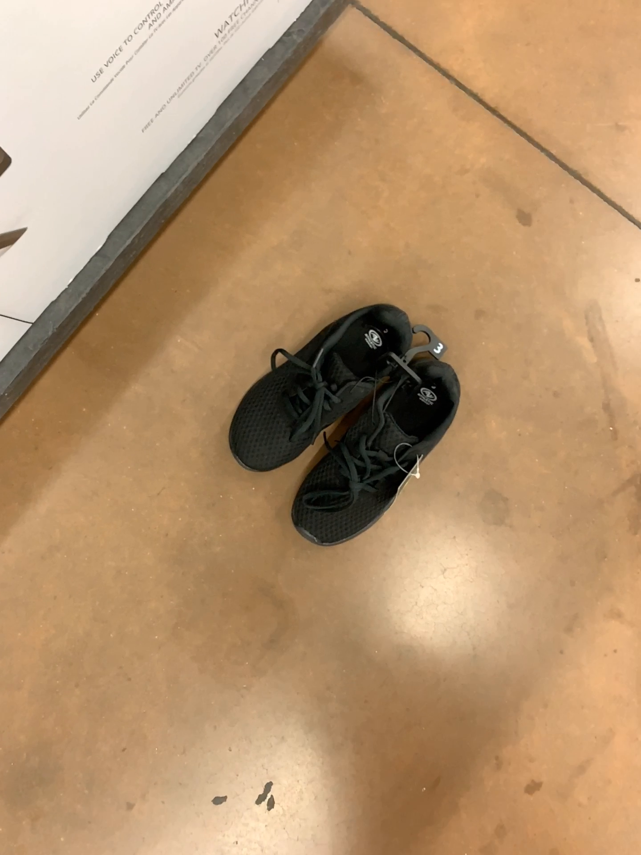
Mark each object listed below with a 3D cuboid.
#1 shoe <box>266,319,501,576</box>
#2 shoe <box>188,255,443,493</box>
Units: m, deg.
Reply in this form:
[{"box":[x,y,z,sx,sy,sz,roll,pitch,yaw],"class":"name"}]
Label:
[{"box":[0.058,0.020,0.641,0.090,0.080,0.230,40,86,2],"class":"shoe"},{"box":[-0.004,-0.047,0.640,0.230,0.080,0.090,-41,87,-3],"class":"shoe"}]
